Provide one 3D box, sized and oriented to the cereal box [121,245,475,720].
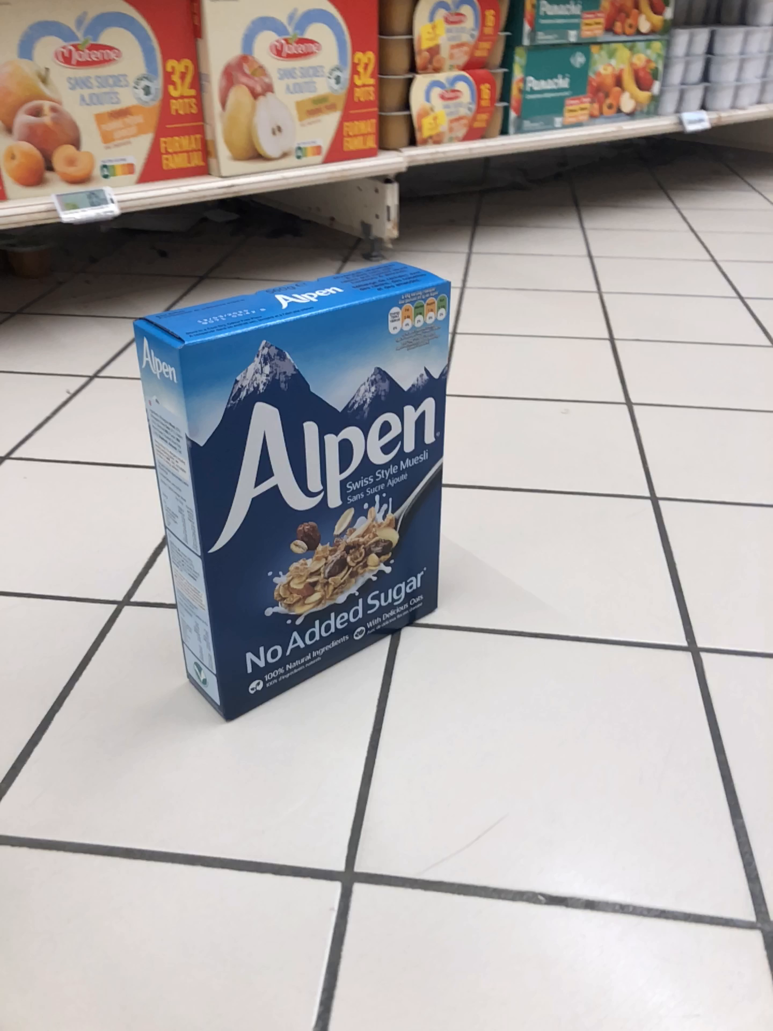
[{"bbox_3d":[-0.039,-0.022,0.498,0.181,0.229,0.060,-23,37,-33],"label":"cereal box"}]
